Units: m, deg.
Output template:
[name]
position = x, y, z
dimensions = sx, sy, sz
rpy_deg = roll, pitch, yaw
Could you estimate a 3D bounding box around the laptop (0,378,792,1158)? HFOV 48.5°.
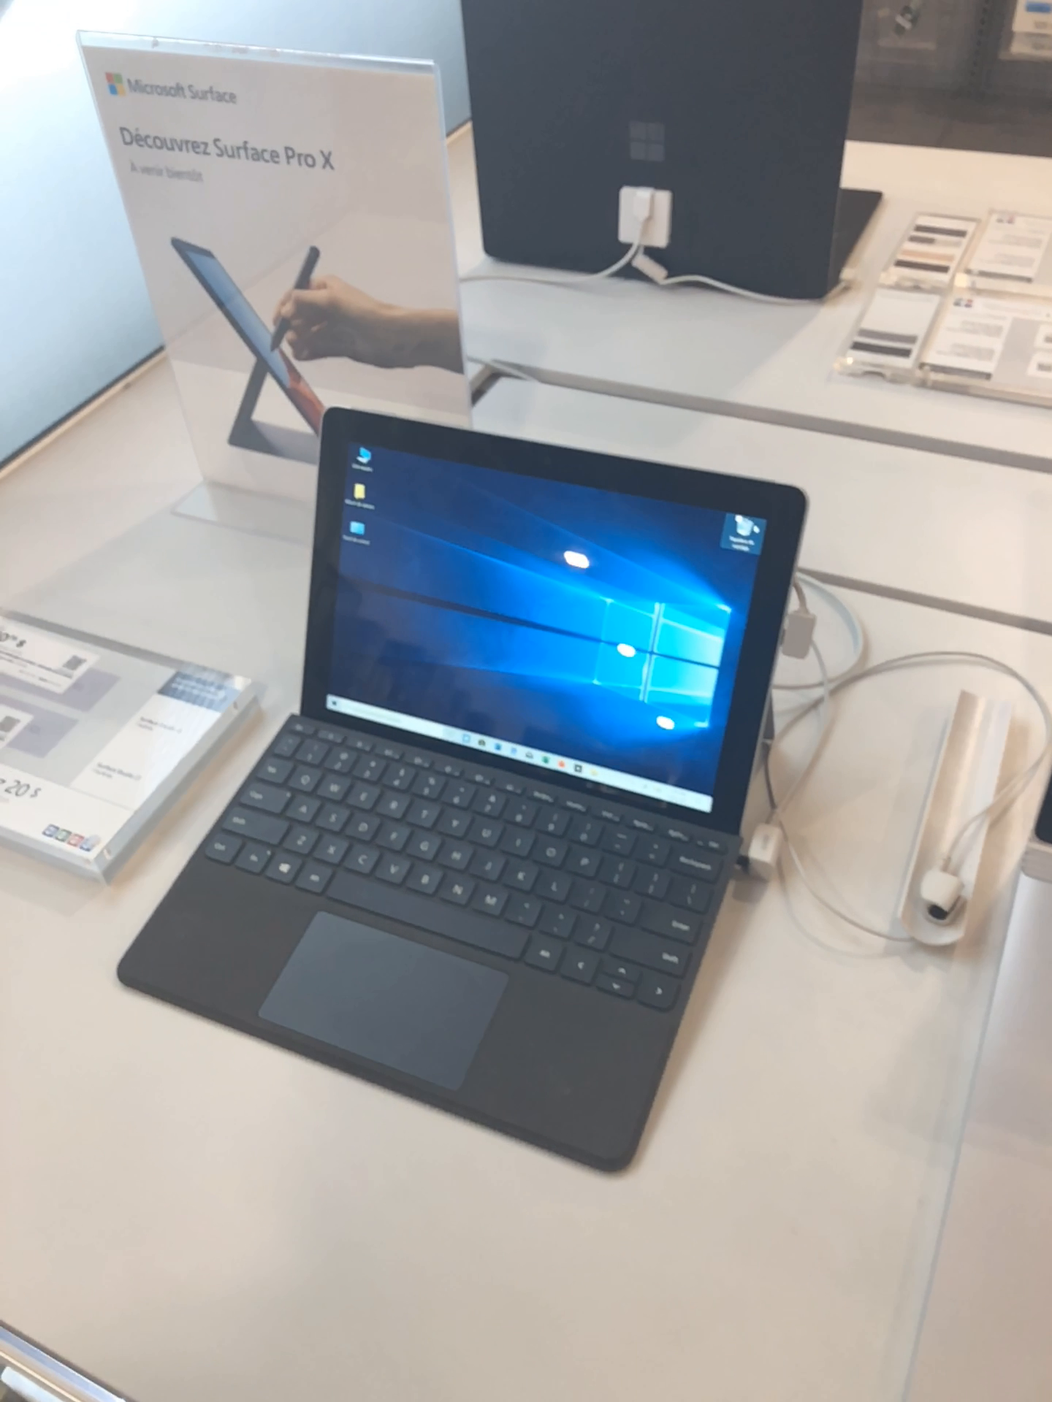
[laptop]
position = -0.034, 0.009, 0.515
dimensions = 0.237, 0.140, 0.251
rpy_deg = 14, 50, 17
